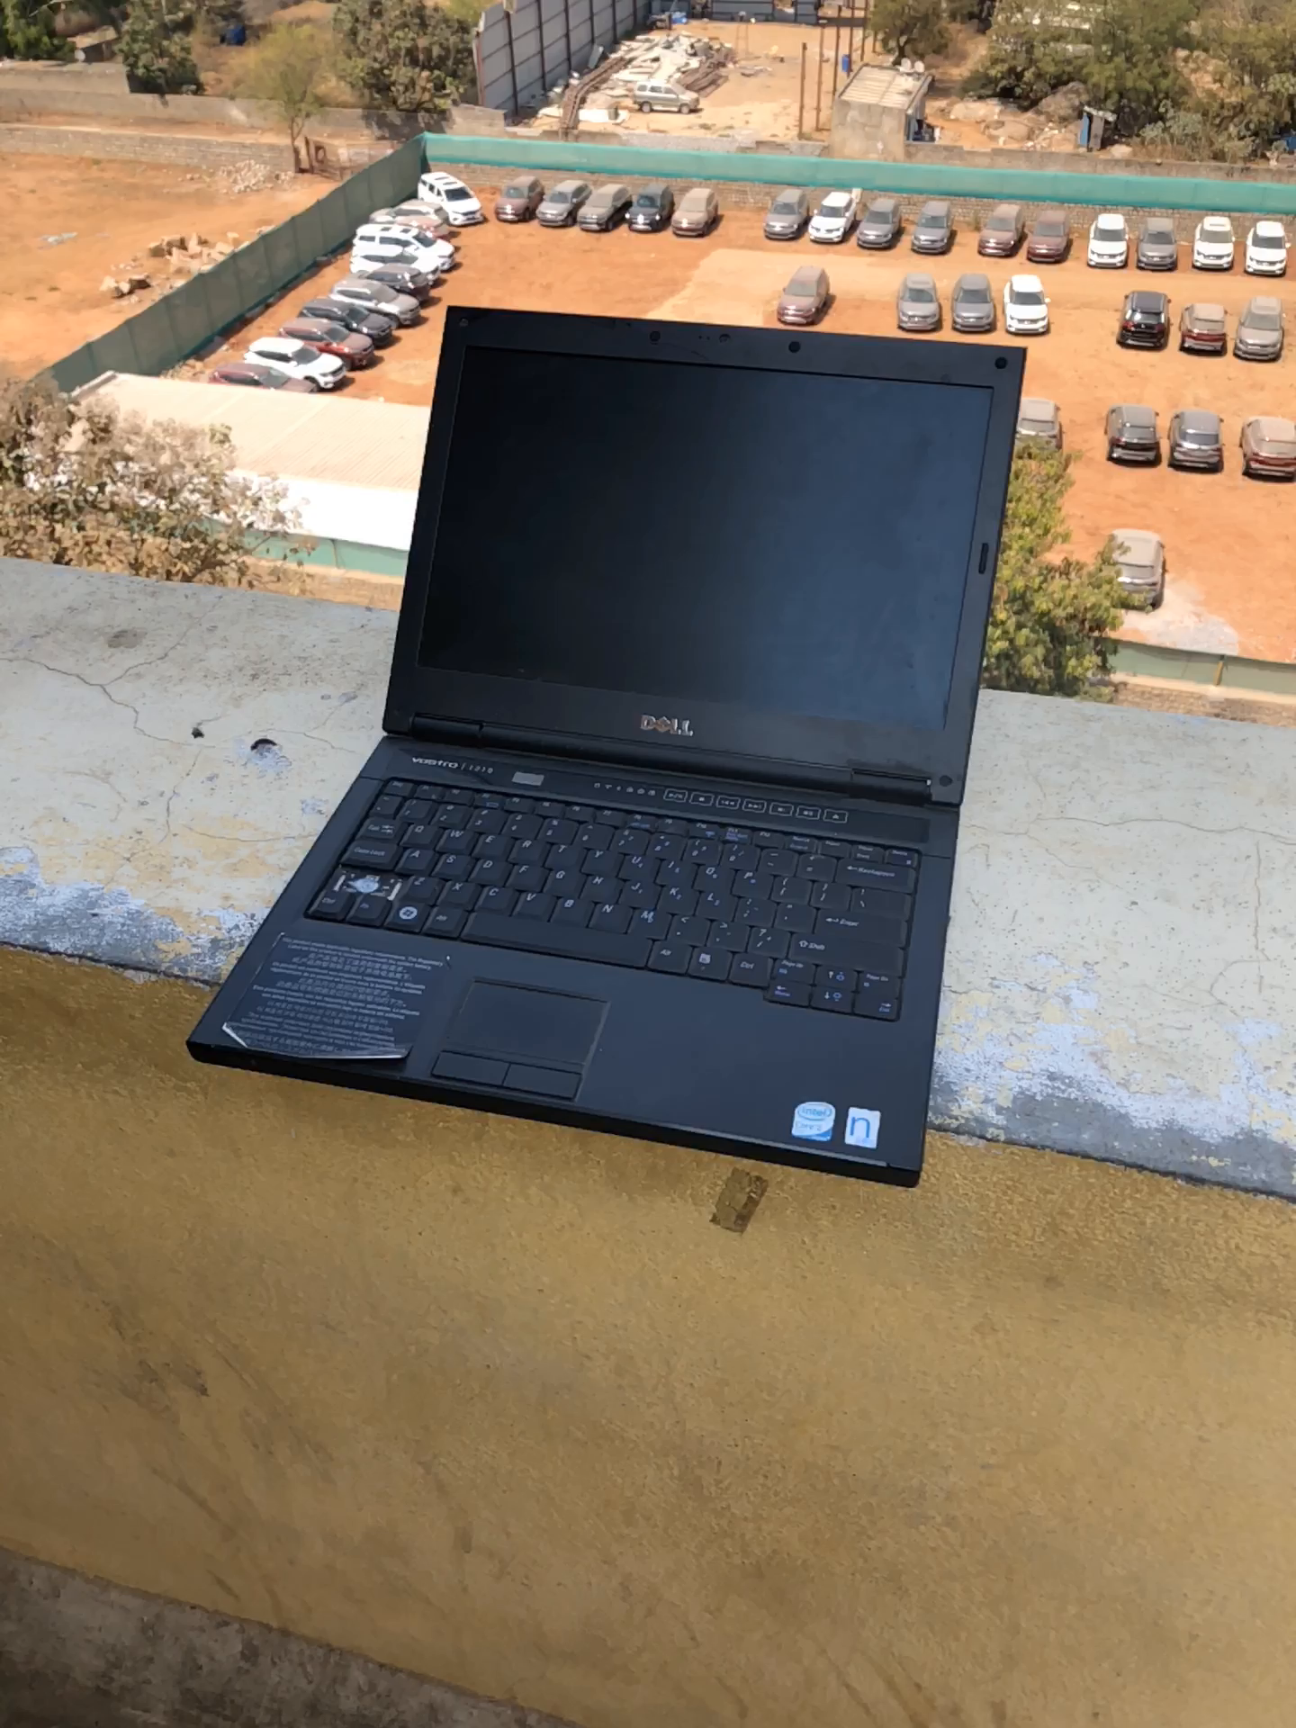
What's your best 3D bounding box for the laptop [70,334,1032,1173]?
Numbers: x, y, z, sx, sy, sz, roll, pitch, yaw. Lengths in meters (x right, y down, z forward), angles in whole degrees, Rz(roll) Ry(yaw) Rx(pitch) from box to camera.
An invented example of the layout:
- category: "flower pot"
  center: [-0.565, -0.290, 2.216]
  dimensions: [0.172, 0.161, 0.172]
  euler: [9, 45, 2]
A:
- category: "laptop"
  center: [-0.001, -0.085, 0.653]
  dimensions: [0.301, 0.177, 0.378]
  euler: [8, 40, 12]
